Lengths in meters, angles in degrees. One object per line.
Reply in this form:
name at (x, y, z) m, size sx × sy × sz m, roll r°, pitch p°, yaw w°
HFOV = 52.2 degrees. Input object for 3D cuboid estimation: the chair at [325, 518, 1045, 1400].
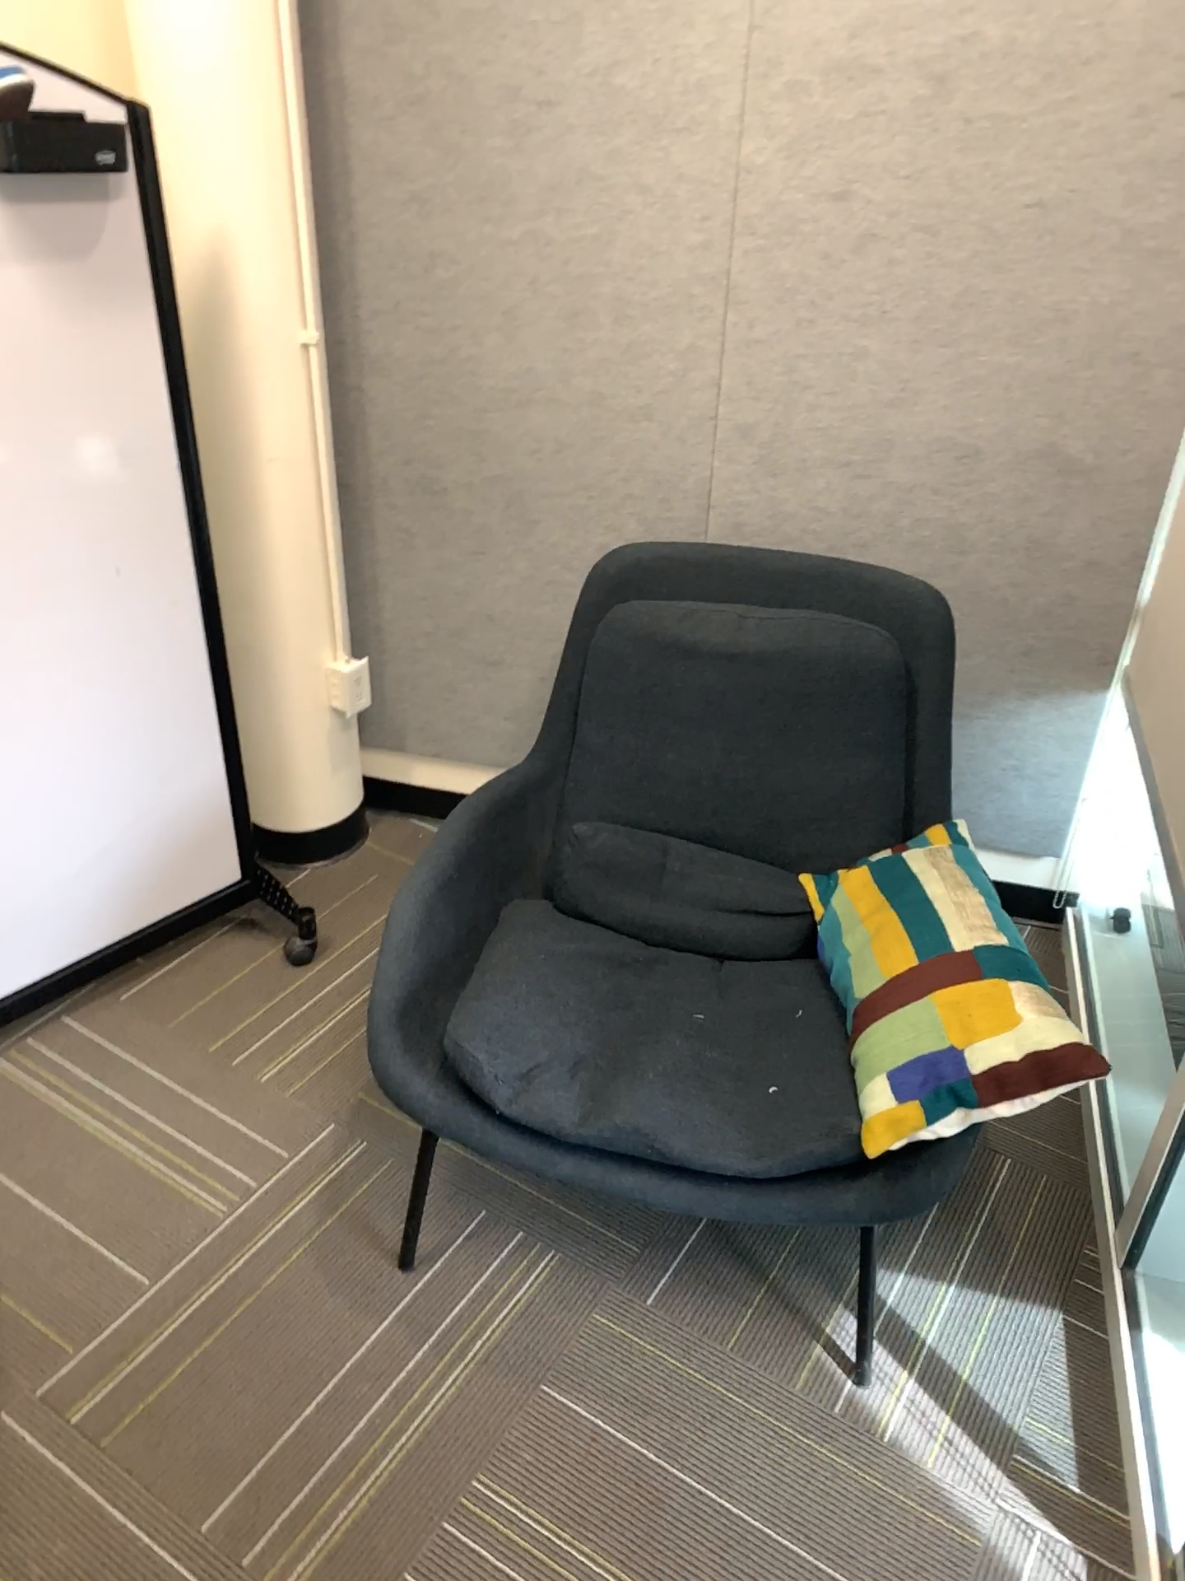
chair at (0.208, 0.163, 1.967) m, size 0.791 × 0.815 × 1.005 m, roll 13°, pitch 33°, yaw 16°
